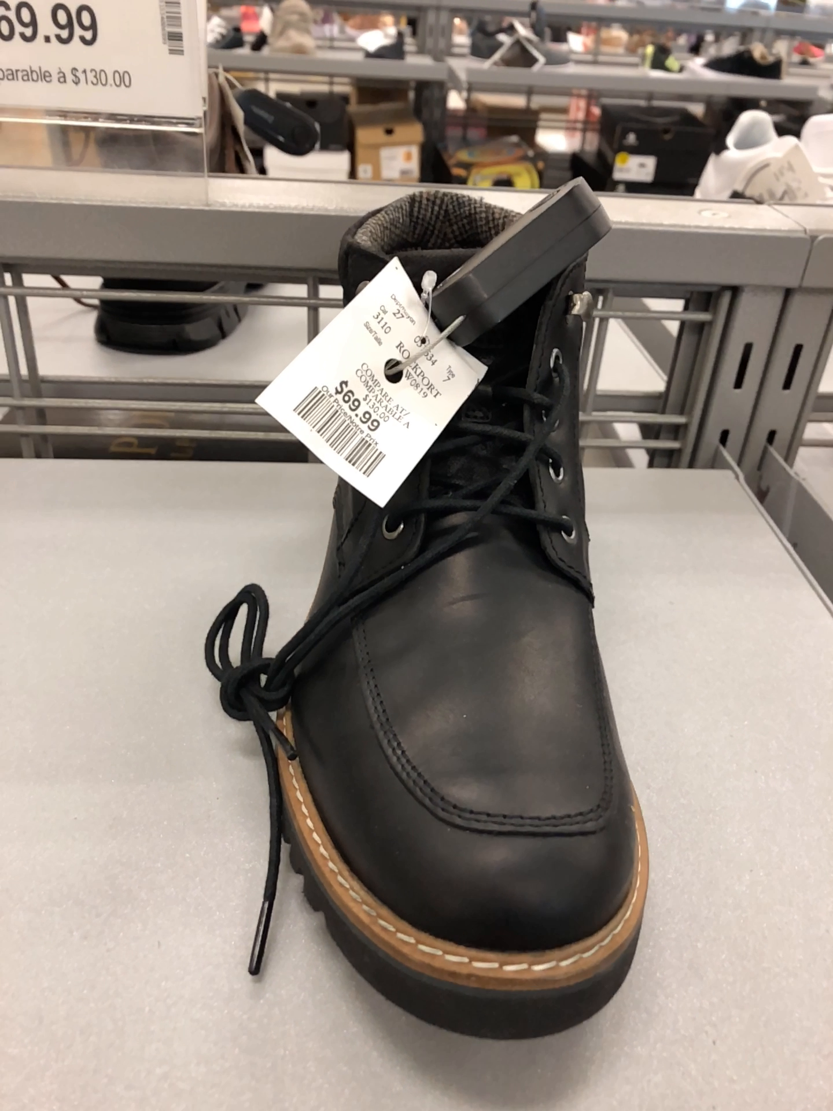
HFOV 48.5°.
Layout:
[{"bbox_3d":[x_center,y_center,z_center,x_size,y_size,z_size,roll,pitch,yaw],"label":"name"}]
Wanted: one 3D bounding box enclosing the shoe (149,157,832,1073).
[{"bbox_3d":[-0.001,-0.016,0.302,0.120,0.139,0.282,0,37,-7],"label":"shoe"}]
